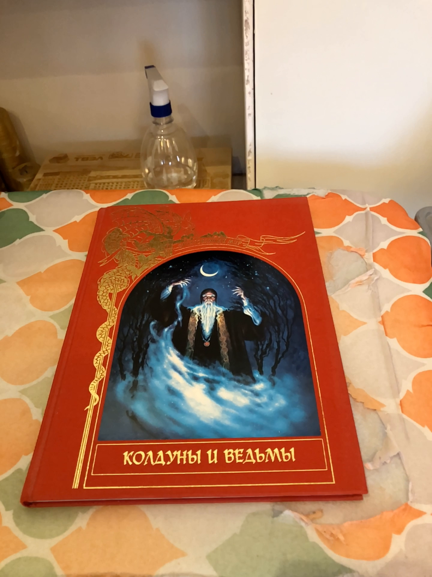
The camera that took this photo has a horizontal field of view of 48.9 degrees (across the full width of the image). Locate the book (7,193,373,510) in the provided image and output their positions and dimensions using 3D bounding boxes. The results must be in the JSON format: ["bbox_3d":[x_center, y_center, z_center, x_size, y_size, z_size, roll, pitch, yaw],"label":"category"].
[{"bbox_3d":[-0.016,0.022,0.386,0.215,0.020,0.292,-3,46,3],"label":"book"}]
